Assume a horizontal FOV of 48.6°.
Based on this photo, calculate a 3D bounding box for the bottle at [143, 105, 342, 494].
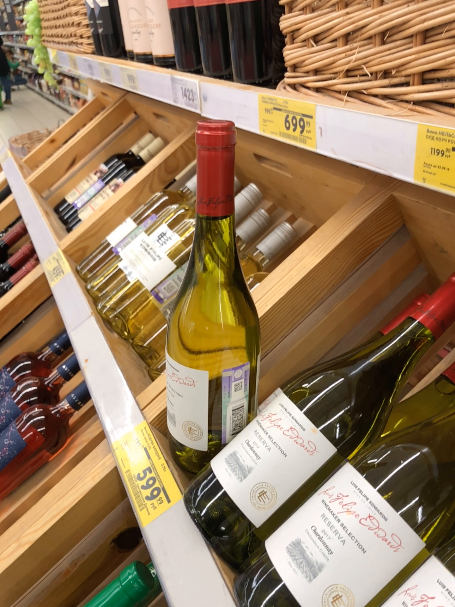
[{"bbox_3d":[-0.004,0.000,0.413,0.100,0.289,0.100,5,25,-2],"label":"bottle"}]
